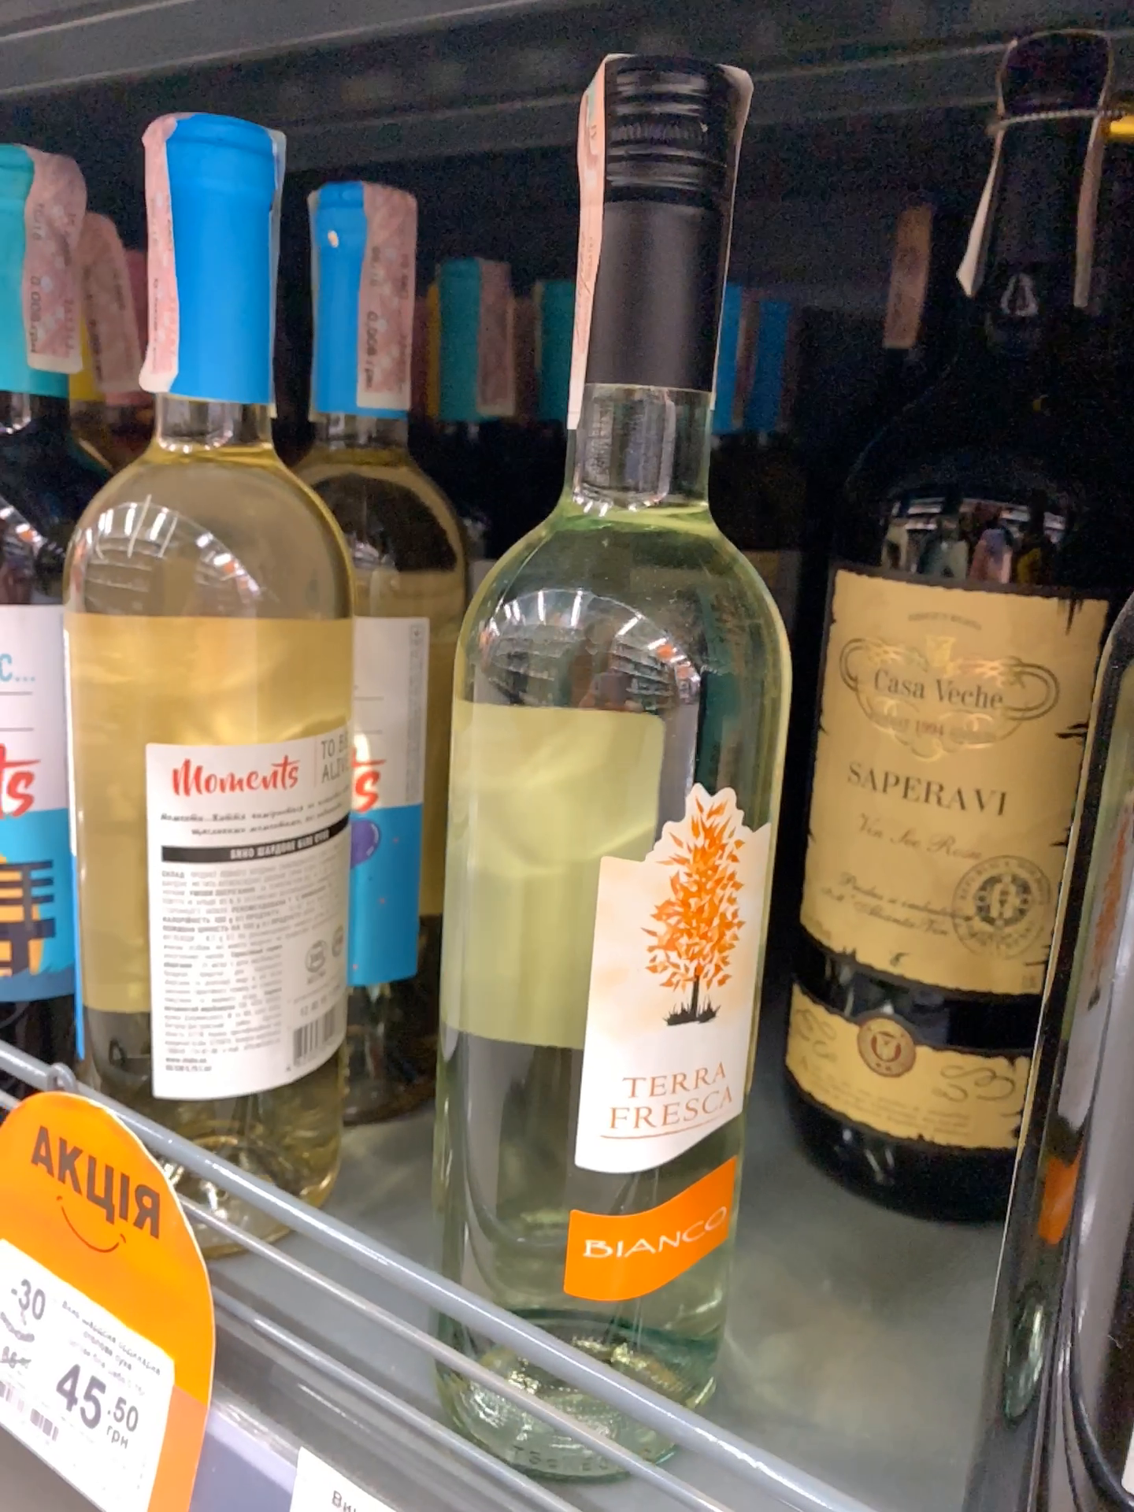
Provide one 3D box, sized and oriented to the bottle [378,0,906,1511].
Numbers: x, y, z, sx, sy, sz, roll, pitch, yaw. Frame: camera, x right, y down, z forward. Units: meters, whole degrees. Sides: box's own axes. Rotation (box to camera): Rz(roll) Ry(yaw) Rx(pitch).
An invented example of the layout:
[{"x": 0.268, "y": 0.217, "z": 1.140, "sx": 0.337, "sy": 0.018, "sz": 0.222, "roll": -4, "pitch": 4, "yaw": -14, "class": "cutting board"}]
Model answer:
[{"x": 0.007, "y": 0.012, "z": 0.259, "sx": 0.070, "sy": 0.294, "sz": 0.070, "roll": 2, "pitch": 15, "yaw": -1, "class": "bottle"}]
